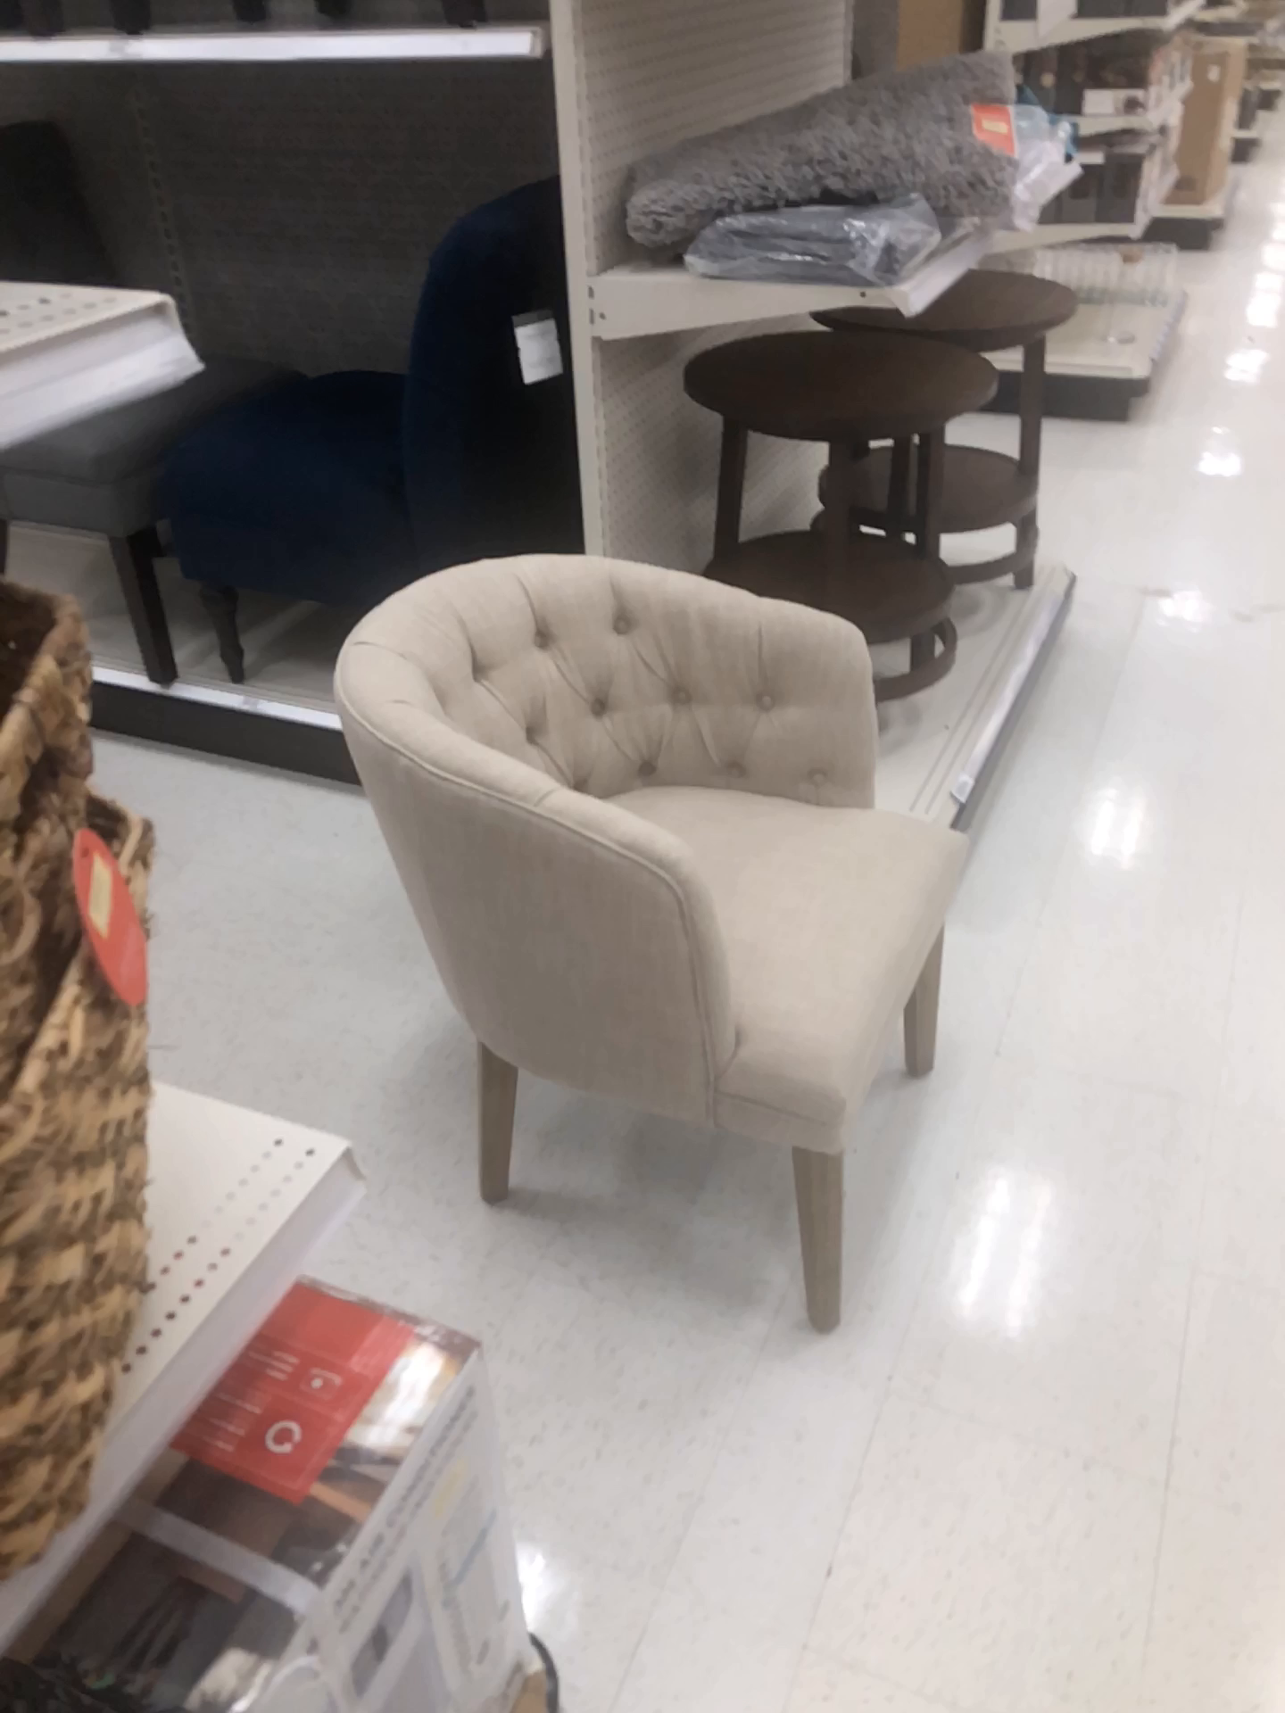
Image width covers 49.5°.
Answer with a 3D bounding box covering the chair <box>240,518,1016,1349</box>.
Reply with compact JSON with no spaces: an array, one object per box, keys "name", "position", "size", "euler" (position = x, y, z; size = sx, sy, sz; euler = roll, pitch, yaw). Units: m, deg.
[{"name":"chair","position":[0.027,0.056,1.702],"size":[0.682,0.700,0.563],"euler":[11,36,18]}]
